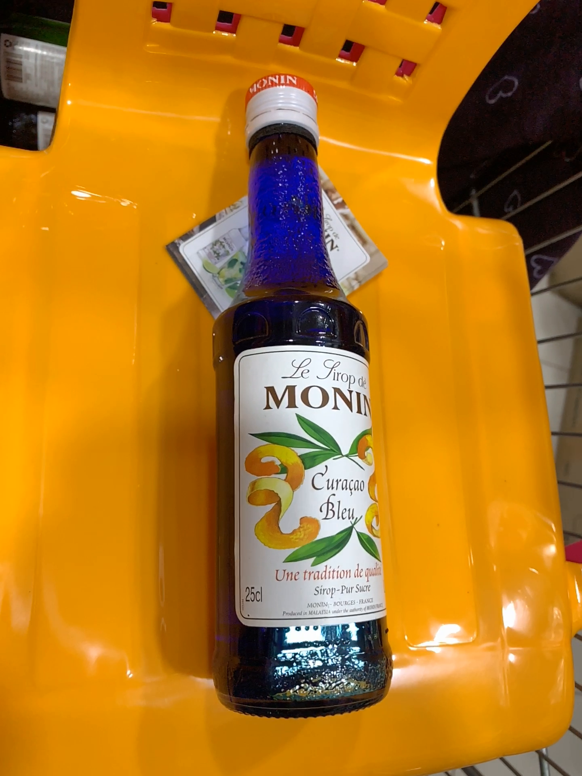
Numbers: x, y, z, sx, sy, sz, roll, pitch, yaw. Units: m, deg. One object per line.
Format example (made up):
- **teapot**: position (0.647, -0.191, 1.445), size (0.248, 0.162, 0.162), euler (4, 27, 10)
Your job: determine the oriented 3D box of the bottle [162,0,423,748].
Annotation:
- **bottle**: position (-0.003, -0.014, 0.202), size (0.060, 0.050, 0.220), euler (6, 75, -25)
